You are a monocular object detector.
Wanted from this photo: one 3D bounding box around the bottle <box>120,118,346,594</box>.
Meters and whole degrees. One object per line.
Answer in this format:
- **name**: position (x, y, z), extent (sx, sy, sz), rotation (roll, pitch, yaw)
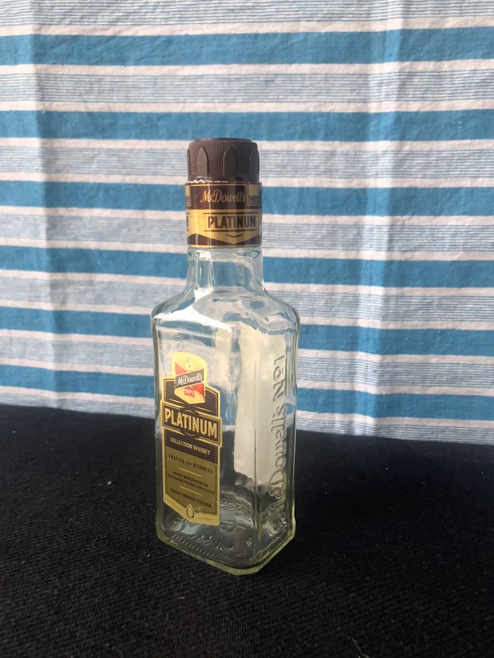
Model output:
- **bottle**: position (-0.007, 0.007, 0.196), extent (0.060, 0.149, 0.040), rotation (11, 18, 29)
